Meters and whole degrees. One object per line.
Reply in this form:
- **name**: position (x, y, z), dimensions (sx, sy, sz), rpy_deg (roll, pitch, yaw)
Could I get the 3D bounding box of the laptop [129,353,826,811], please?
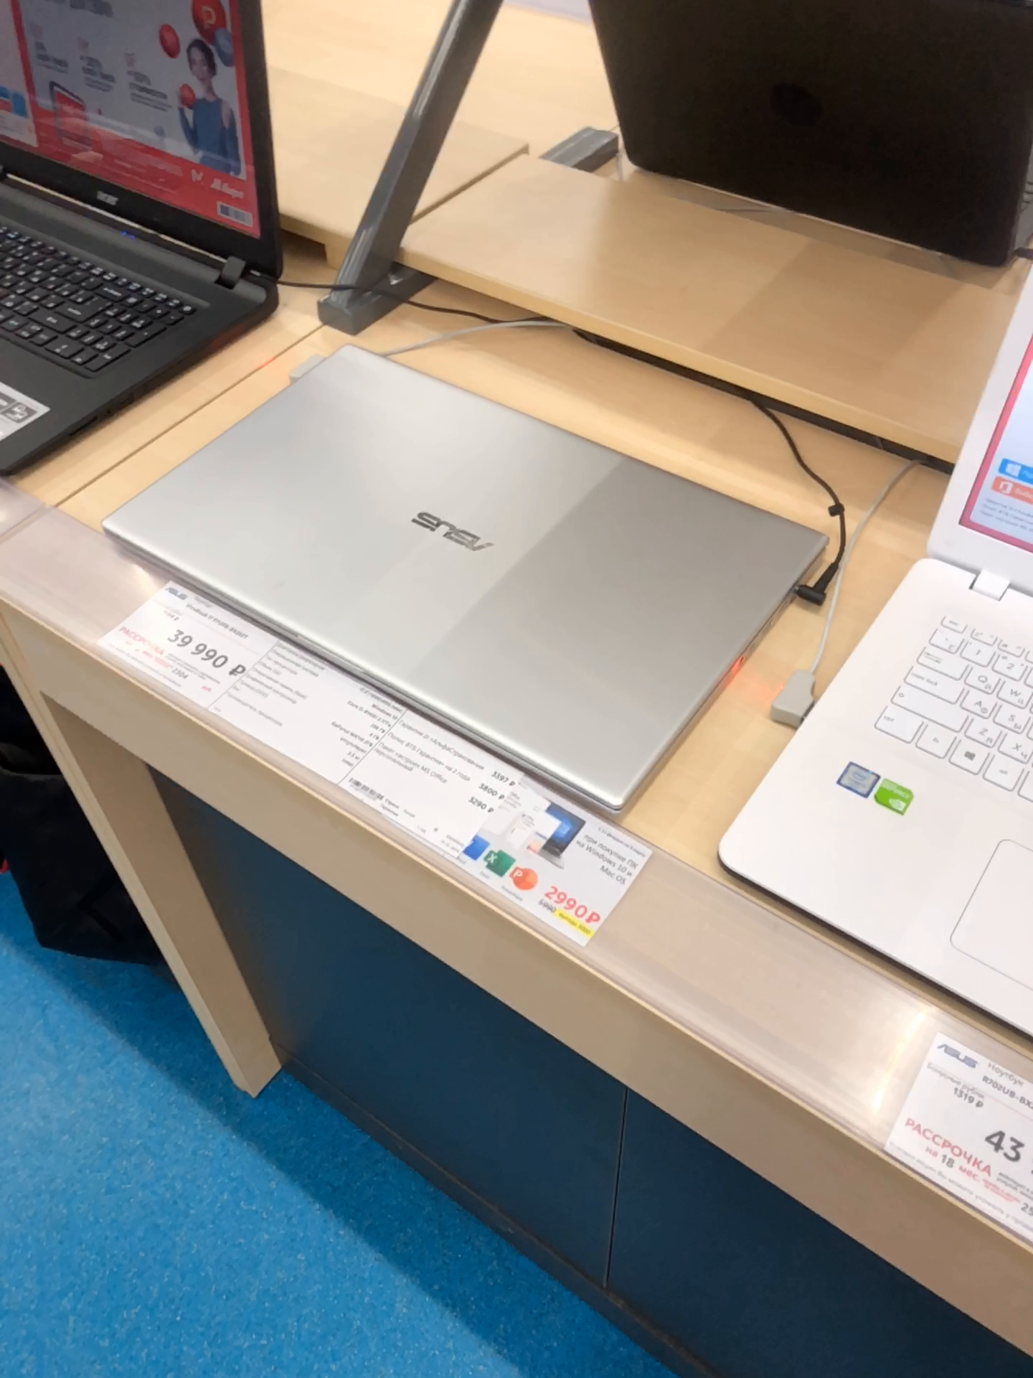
- **laptop**: position (-0.031, -0.096, 0.734), dimensions (0.392, 0.006, 0.233), rpy_deg (28, 57, 23)
